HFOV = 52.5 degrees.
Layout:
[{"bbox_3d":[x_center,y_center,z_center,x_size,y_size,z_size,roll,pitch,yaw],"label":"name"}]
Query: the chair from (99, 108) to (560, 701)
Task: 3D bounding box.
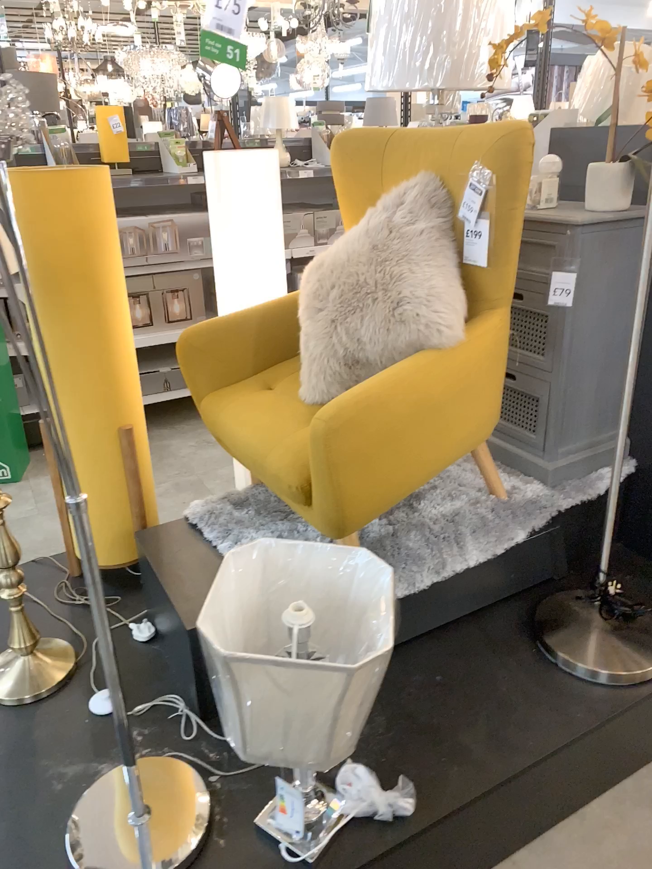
[{"bbox_3d":[0.059,-0.117,1.530,0.712,1.020,0.594,-24,30,-24],"label":"chair"}]
